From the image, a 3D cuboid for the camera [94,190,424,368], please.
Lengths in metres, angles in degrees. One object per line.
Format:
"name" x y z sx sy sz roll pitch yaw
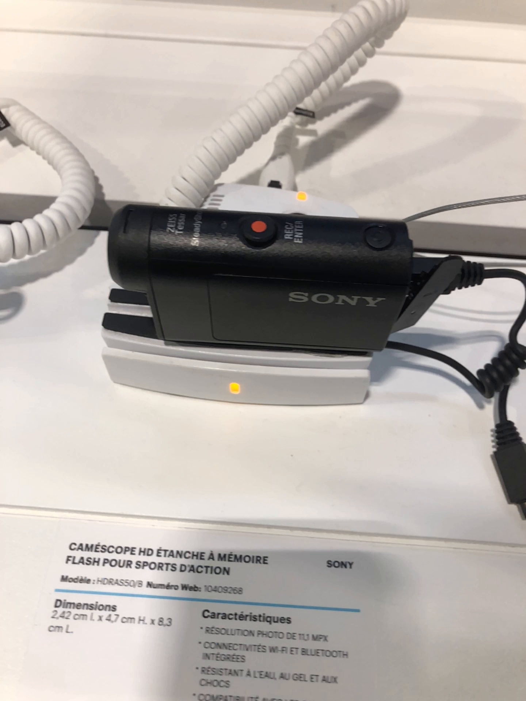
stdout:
"camera" -0.001 -0.018 0.167 0.080 0.045 0.020 4 57 1
